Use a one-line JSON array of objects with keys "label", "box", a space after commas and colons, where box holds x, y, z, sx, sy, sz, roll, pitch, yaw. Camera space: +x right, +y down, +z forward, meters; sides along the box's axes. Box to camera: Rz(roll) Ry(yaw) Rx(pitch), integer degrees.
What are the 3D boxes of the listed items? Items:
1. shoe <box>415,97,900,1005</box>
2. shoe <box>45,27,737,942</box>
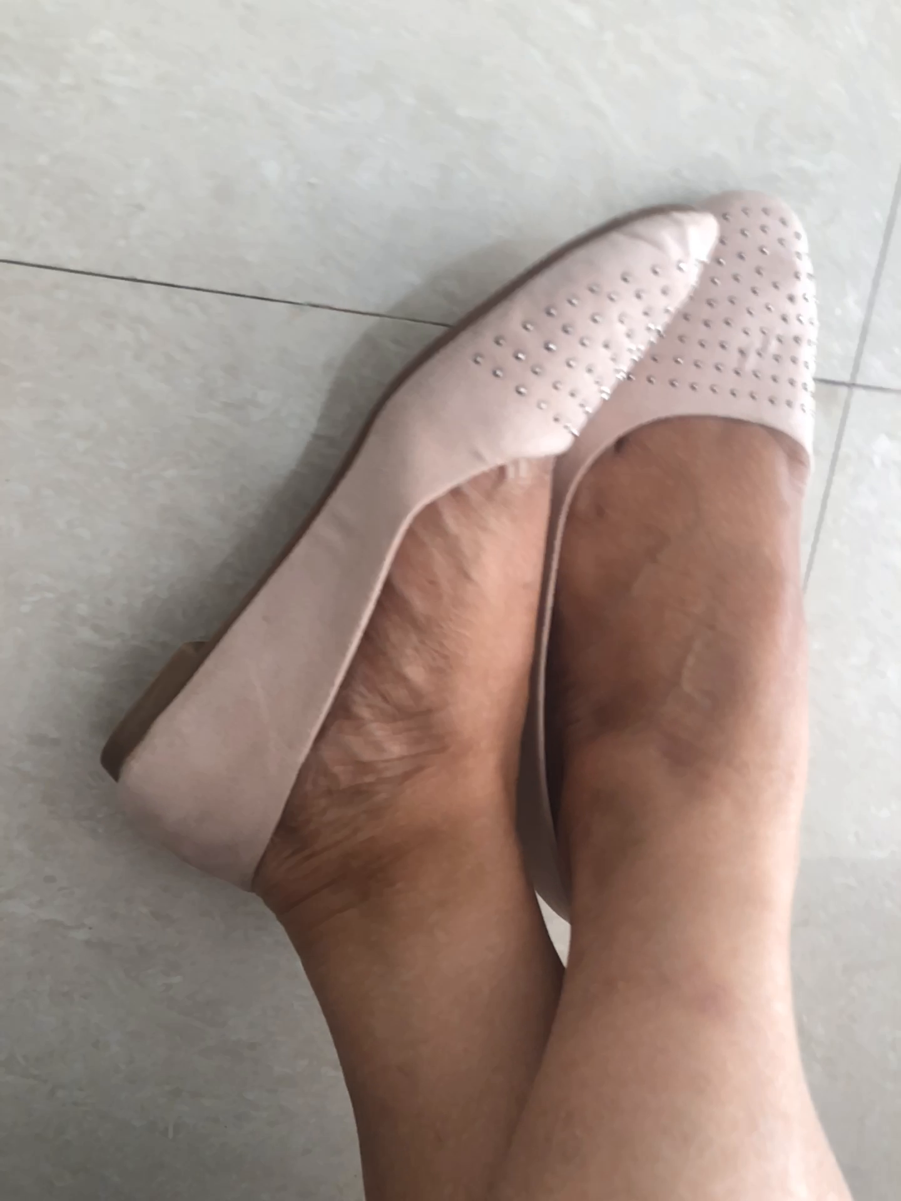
[{"label": "shoe", "box": [0.071, -0.007, 0.341, 0.100, 0.080, 0.270, 10, 103, -14]}, {"label": "shoe", "box": [-0.014, -0.023, 0.298, 0.060, 0.090, 0.240, 36, 101, 19]}]
